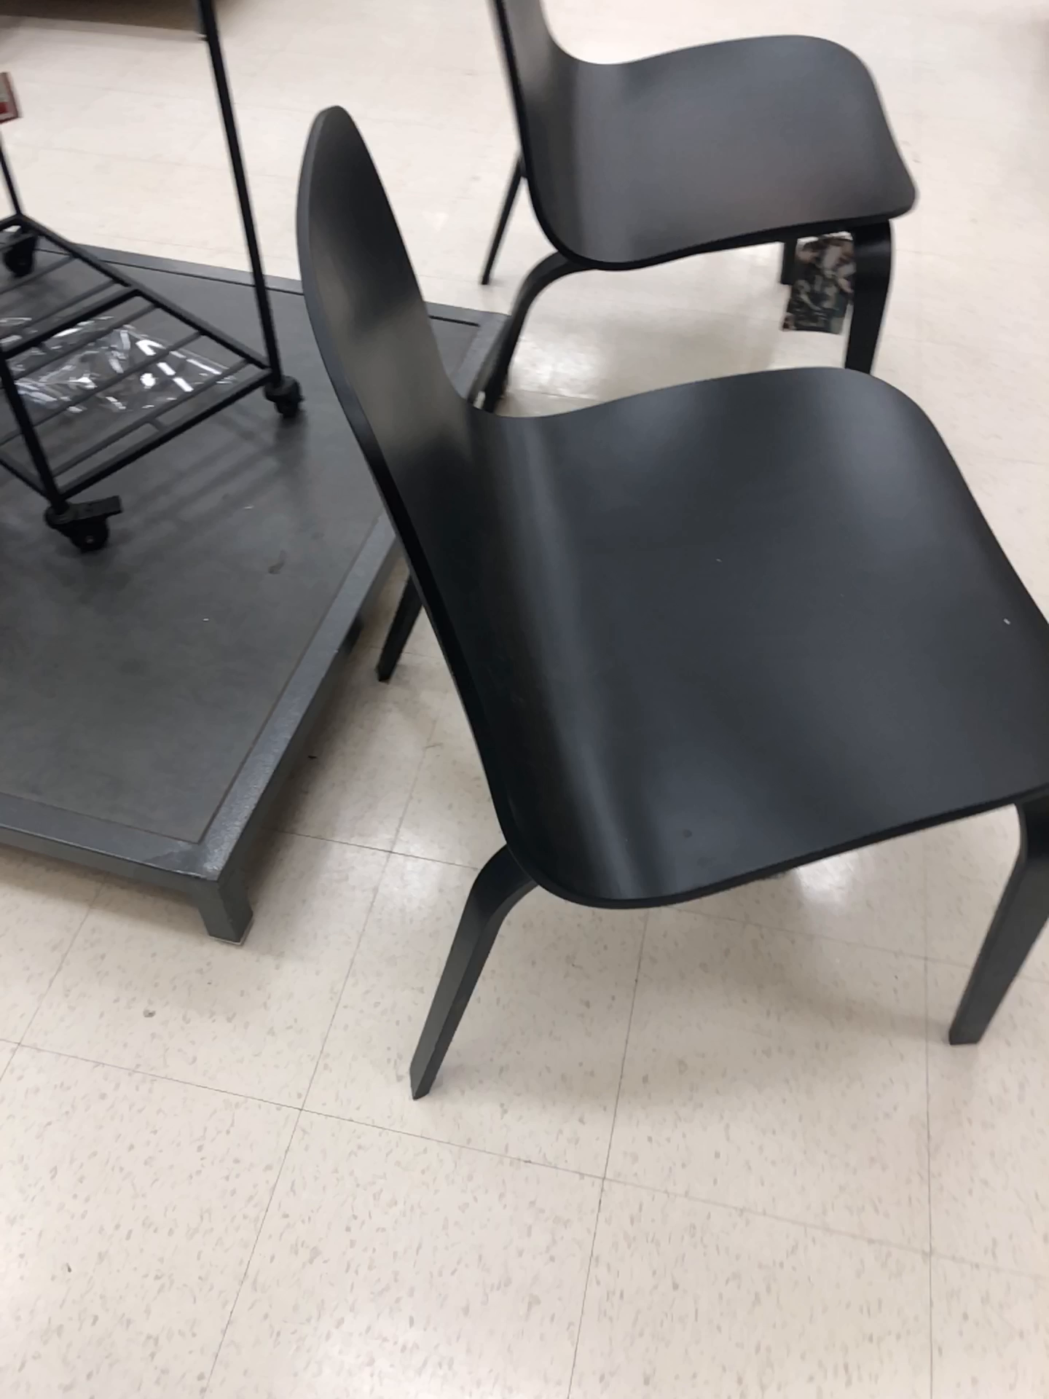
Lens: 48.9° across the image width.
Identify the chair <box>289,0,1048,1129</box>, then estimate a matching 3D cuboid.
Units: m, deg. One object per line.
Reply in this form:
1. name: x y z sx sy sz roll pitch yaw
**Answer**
1. chair: 0.163 -0.106 1.041 0.630 0.718 0.642 -6 50 -6
